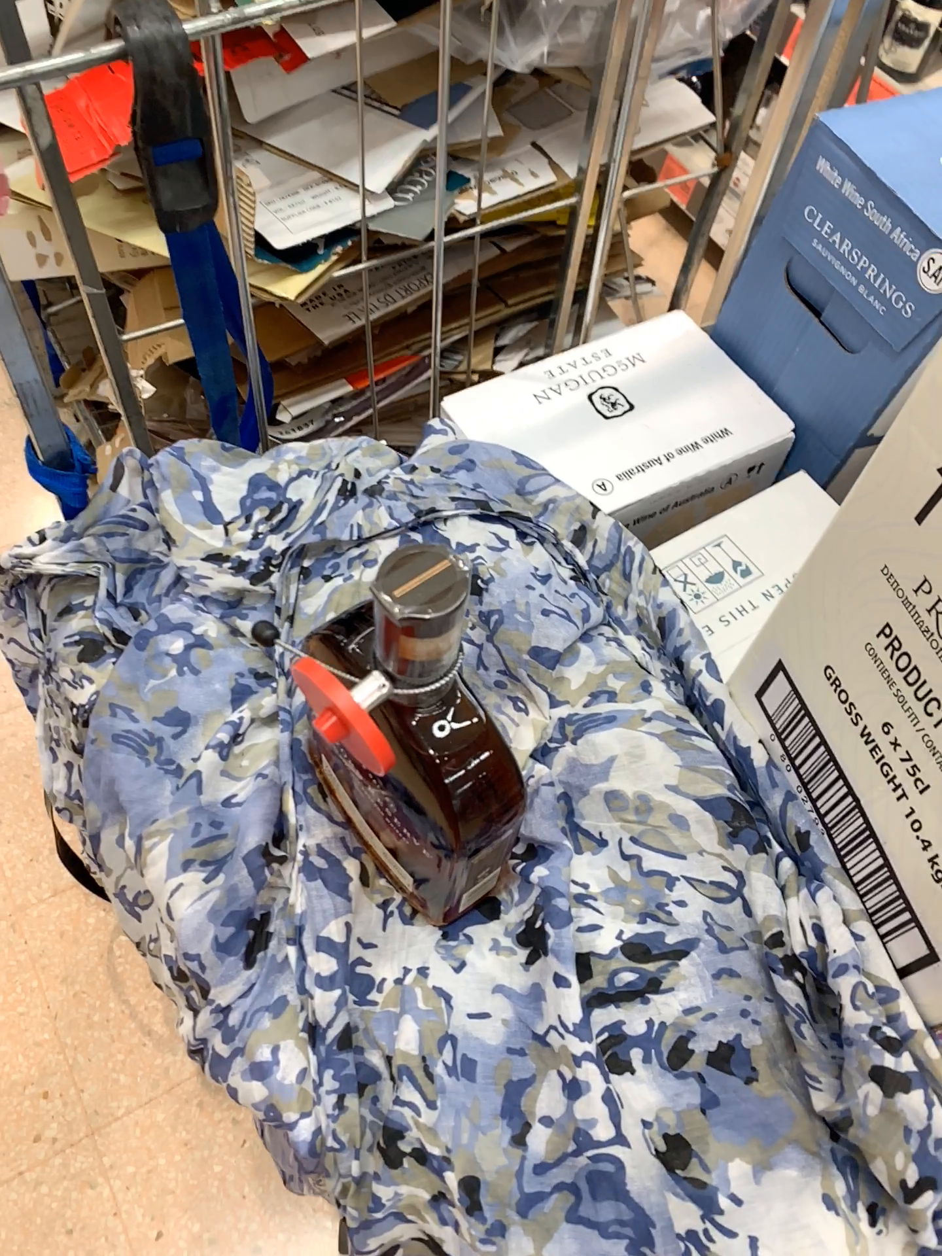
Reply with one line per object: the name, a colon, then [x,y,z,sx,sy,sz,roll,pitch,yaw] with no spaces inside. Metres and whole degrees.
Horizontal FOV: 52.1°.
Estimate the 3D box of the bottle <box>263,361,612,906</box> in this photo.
bottle: [-0.027,0.018,0.420,0.051,0.222,0.134,-29,65,-24]
